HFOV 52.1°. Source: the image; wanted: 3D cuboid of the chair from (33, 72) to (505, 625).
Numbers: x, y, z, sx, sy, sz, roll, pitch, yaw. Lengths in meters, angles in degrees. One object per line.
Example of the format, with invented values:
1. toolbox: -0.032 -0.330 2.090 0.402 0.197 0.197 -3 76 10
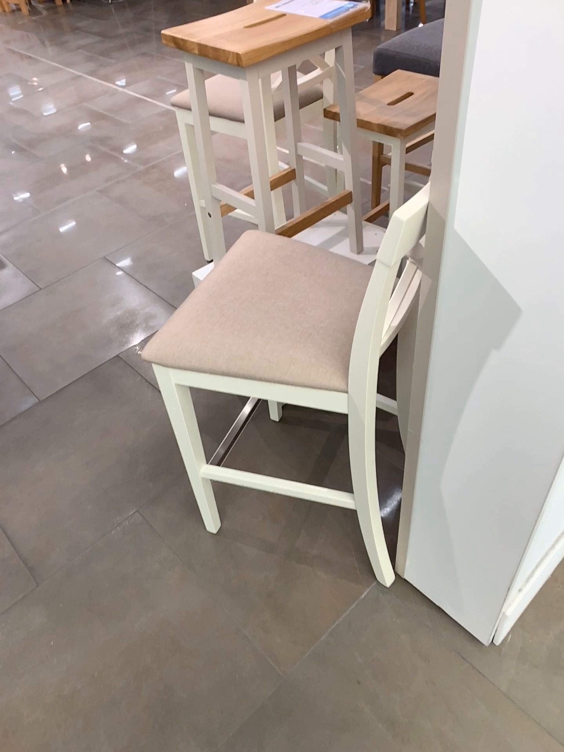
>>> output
1. chair: 0.041 -0.013 1.158 0.539 0.938 0.452 16 49 22
